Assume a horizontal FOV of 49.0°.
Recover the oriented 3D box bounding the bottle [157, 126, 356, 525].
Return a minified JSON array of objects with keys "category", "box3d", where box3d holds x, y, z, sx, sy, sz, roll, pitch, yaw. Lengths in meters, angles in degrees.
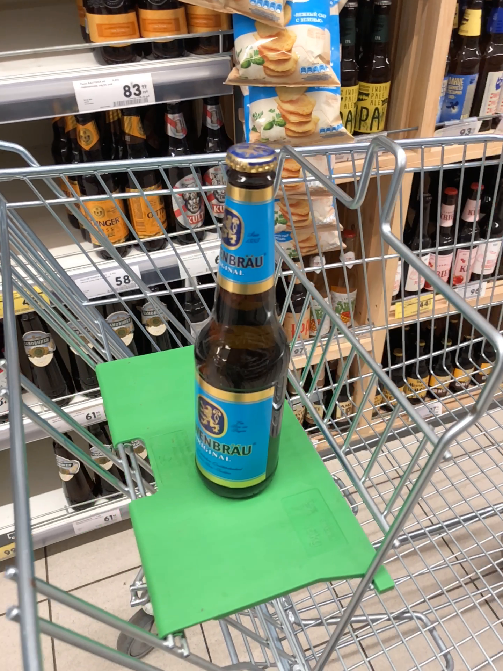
[{"category":"bottle","box3d":[-0.002,0.004,0.367,0.070,0.249,0.080,-27,45,-33]}]
